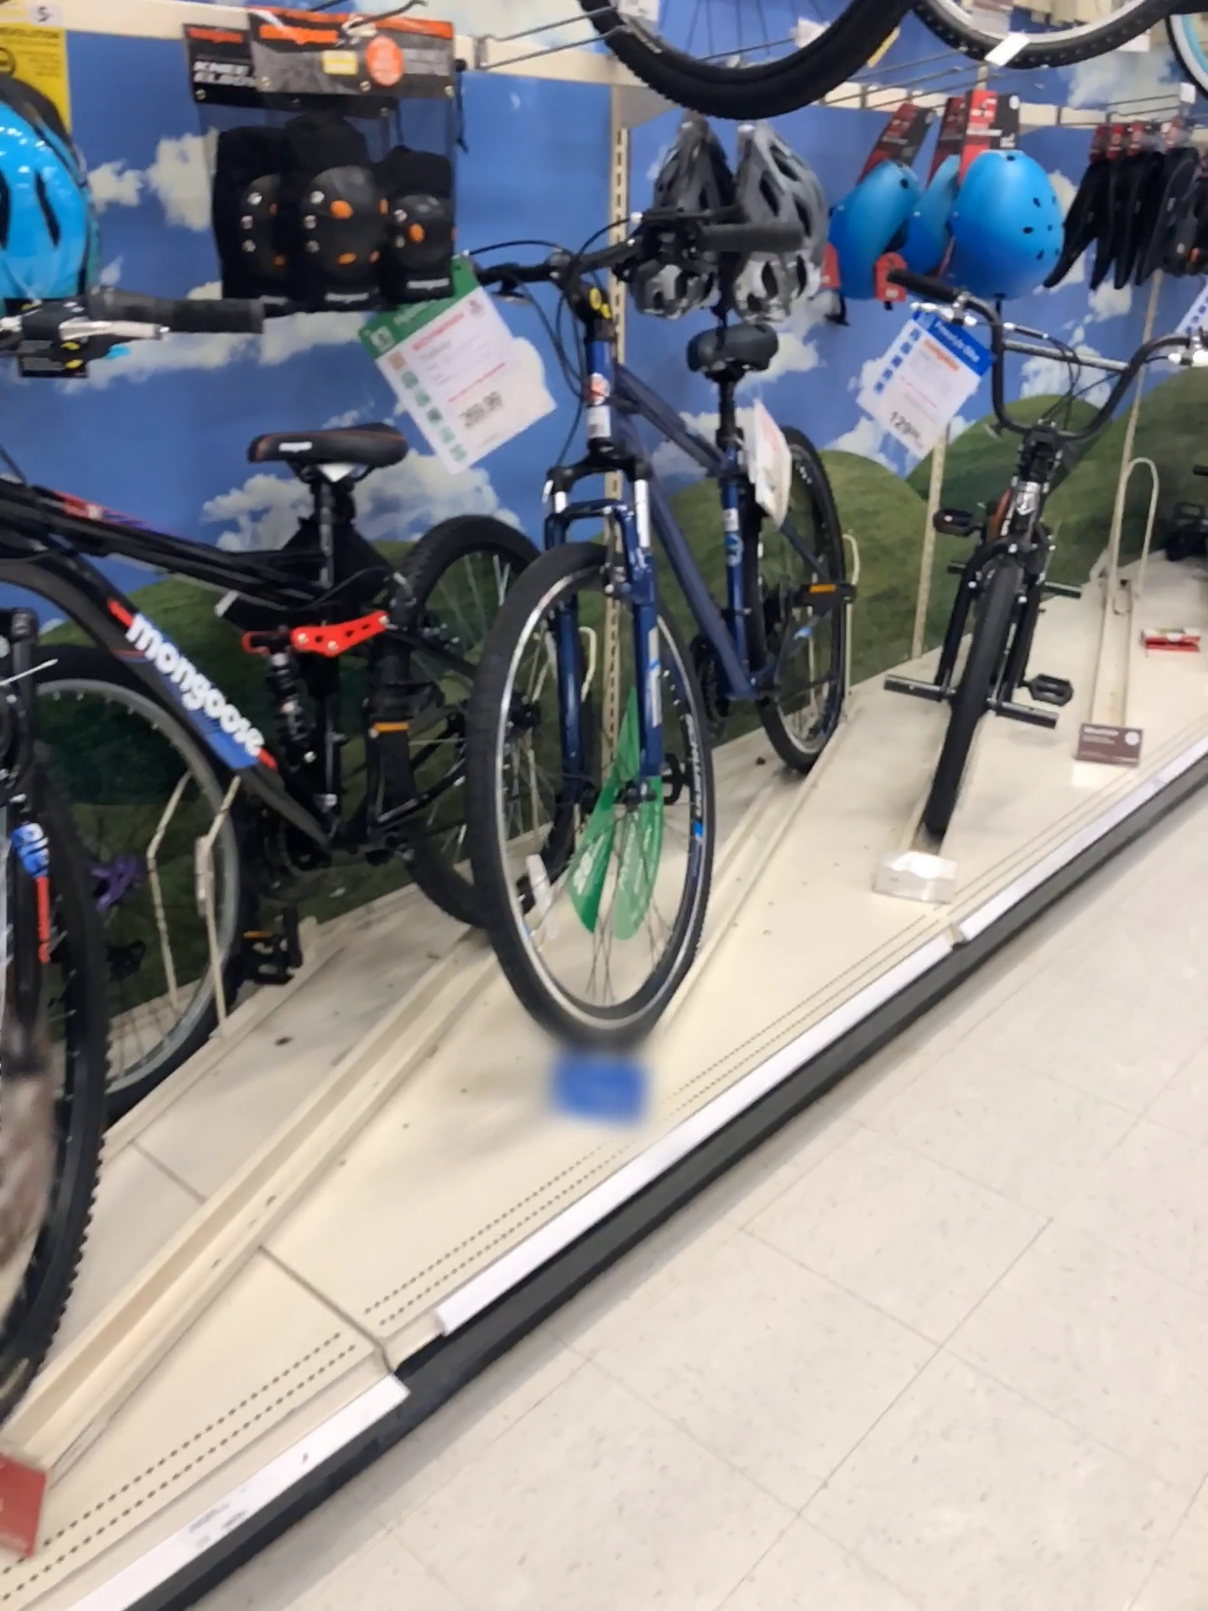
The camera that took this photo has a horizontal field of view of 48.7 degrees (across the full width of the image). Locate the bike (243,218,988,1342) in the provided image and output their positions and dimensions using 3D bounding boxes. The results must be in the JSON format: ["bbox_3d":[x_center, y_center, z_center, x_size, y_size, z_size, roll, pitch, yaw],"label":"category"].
[{"bbox_3d":[0.192,-0.297,2.157,0.530,1.098,1.746,9,27,19],"label":"bike"}]
